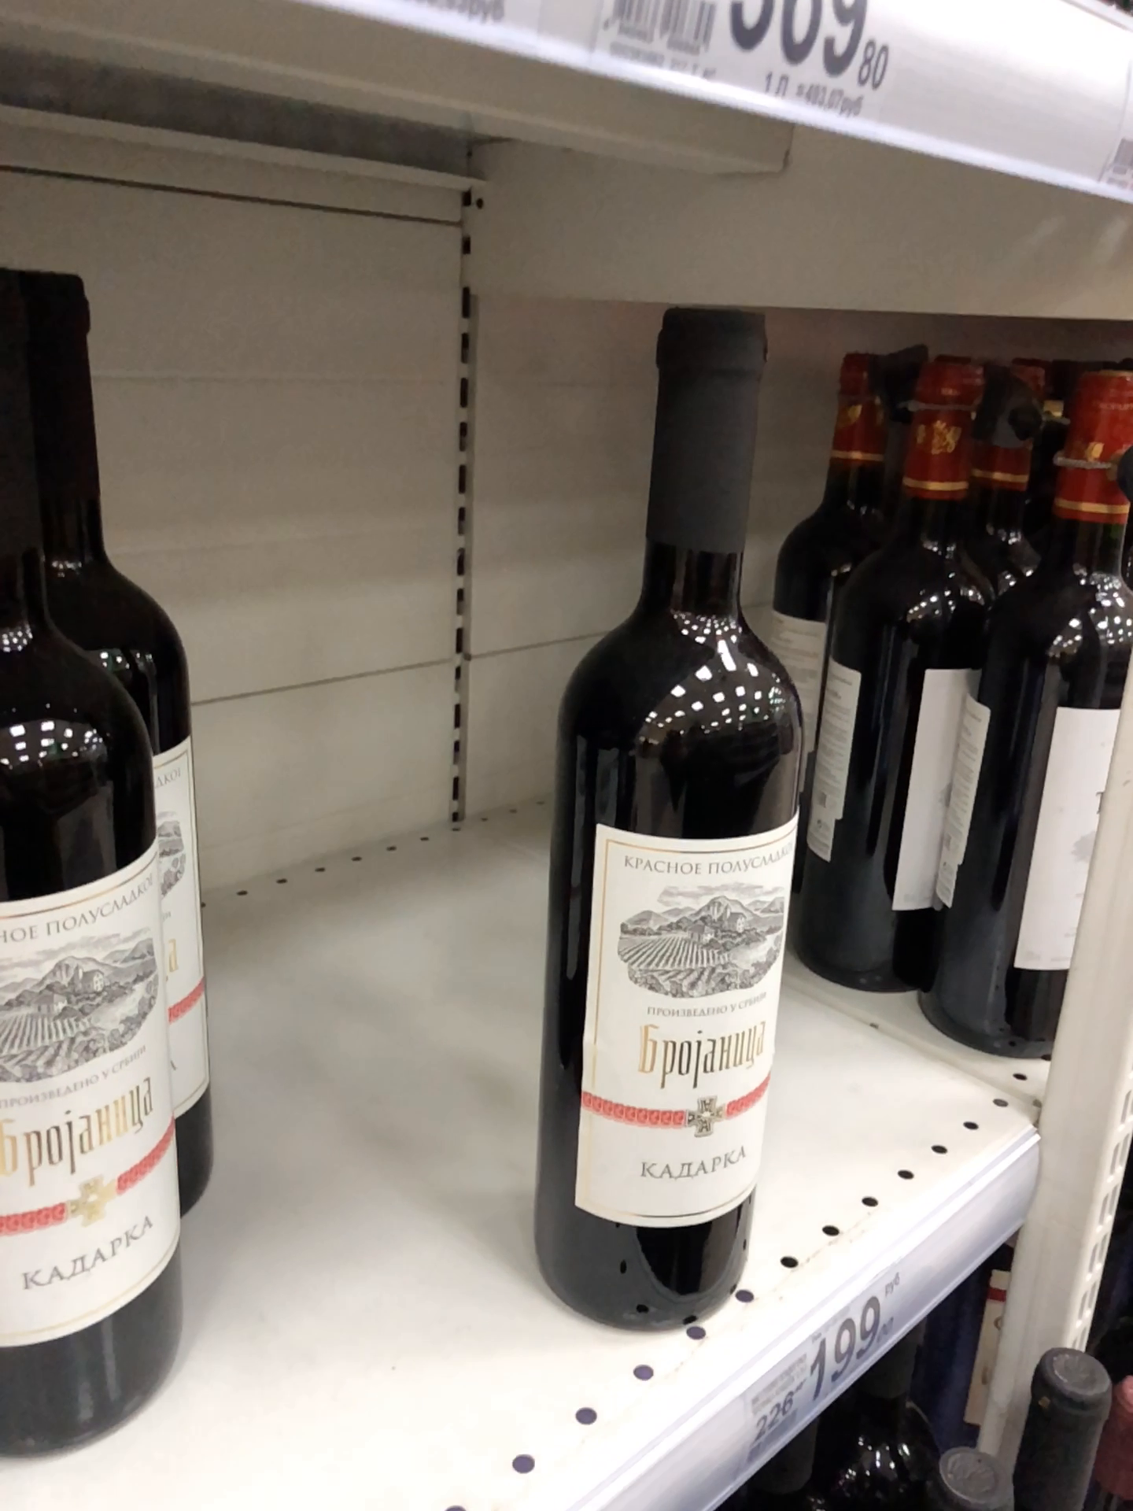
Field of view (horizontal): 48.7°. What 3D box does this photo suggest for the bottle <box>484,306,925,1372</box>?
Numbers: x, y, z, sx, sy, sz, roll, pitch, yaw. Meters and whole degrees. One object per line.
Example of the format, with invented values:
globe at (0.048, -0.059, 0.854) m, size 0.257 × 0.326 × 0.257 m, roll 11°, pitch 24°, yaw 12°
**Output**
bottle at (0.030, 0.028, 0.385) m, size 0.080 × 0.308 × 0.080 m, roll 3°, pitch 19°, yaw -1°
